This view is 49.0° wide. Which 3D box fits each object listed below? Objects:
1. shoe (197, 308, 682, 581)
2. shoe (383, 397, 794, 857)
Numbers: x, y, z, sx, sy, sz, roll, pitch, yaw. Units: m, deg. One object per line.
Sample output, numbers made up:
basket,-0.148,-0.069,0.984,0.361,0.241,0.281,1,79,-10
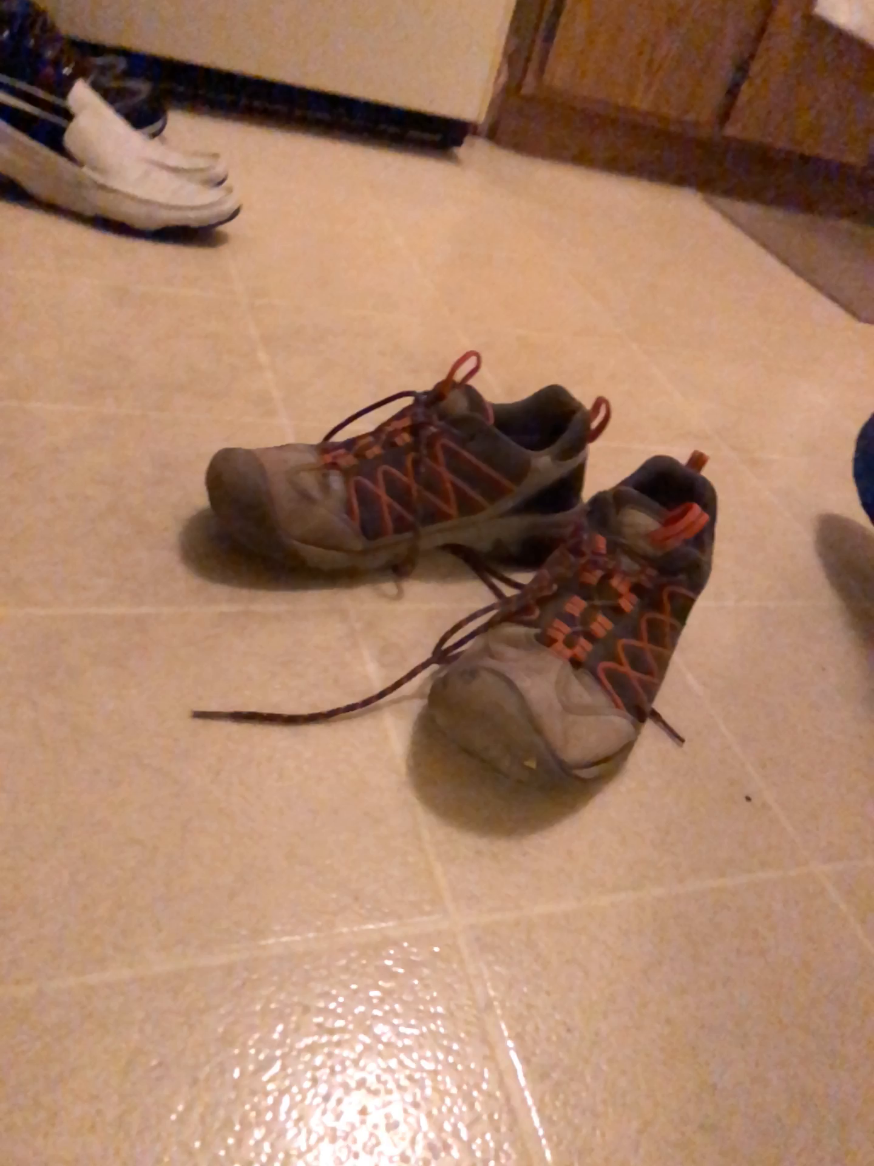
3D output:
shoe,-0.002,-0.094,0.671,0.293,0.121,0.127,-2,41,-25
shoe,0.106,0.006,0.596,0.127,0.121,0.284,29,38,15
